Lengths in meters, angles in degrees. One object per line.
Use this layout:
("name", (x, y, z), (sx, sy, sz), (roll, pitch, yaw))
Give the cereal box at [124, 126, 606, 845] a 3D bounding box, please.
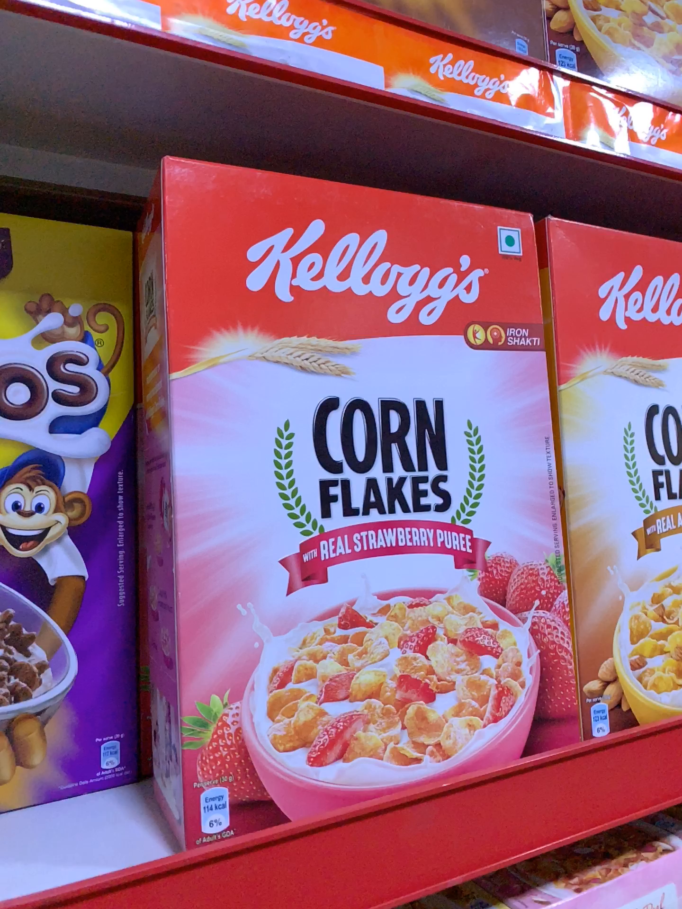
("cereal box", (0.011, 0.006, 0.306), (0.190, 0.241, 0.060), (0, -6, -26))
